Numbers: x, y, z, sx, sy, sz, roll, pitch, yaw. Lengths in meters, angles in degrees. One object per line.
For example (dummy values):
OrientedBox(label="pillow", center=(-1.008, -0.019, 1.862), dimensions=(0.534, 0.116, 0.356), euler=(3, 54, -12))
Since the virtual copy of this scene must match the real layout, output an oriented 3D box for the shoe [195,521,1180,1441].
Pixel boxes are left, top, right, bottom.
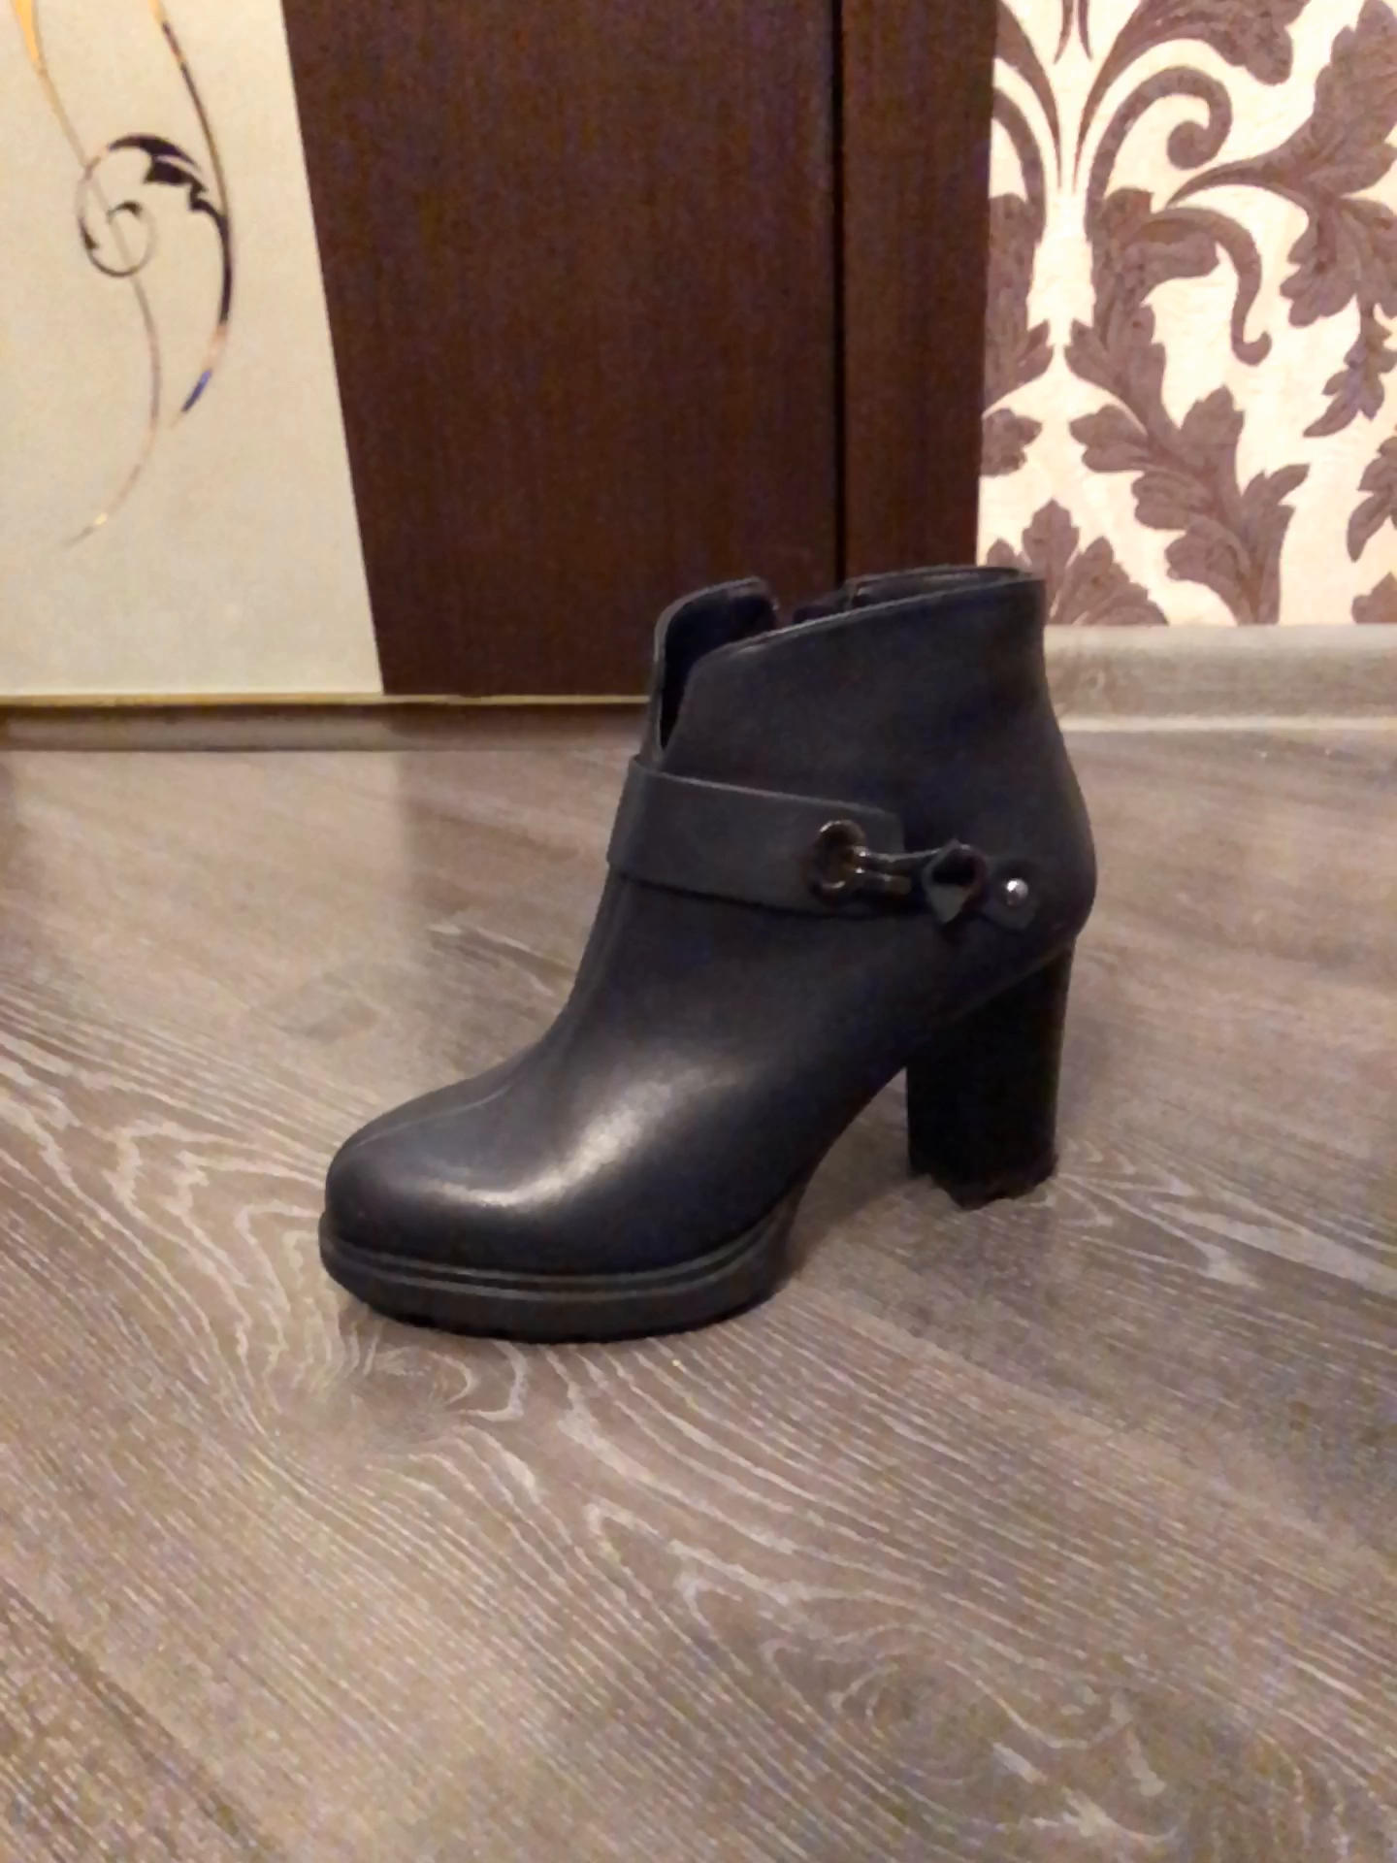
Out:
OrientedBox(label="shoe", center=(-0.003, 0.003, 0.437), dimensions=(0.230, 0.189, 0.111), euler=(-11, 27, -16))
